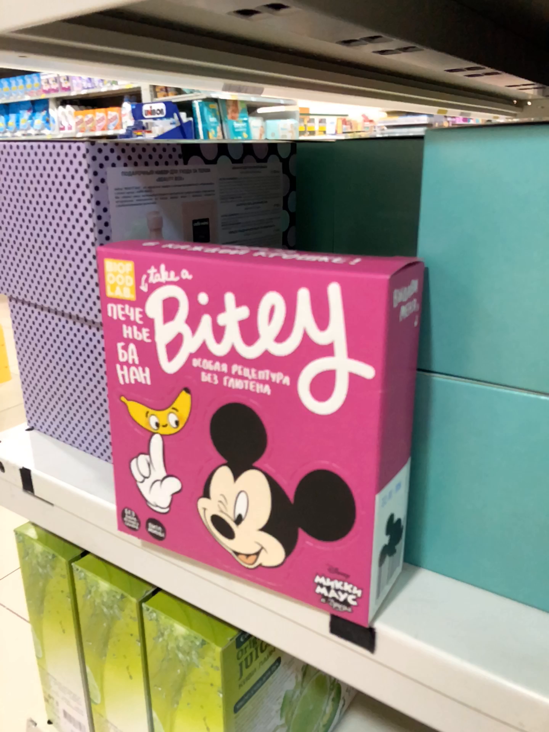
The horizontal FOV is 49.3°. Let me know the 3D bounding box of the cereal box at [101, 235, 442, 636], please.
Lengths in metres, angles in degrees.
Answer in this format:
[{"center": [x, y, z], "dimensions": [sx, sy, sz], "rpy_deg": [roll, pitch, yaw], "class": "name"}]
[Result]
[{"center": [-0.006, 0.023, 0.271], "dimensions": [0.140, 0.149, 0.040], "rpy_deg": [10, 20, 27], "class": "cereal box"}]
